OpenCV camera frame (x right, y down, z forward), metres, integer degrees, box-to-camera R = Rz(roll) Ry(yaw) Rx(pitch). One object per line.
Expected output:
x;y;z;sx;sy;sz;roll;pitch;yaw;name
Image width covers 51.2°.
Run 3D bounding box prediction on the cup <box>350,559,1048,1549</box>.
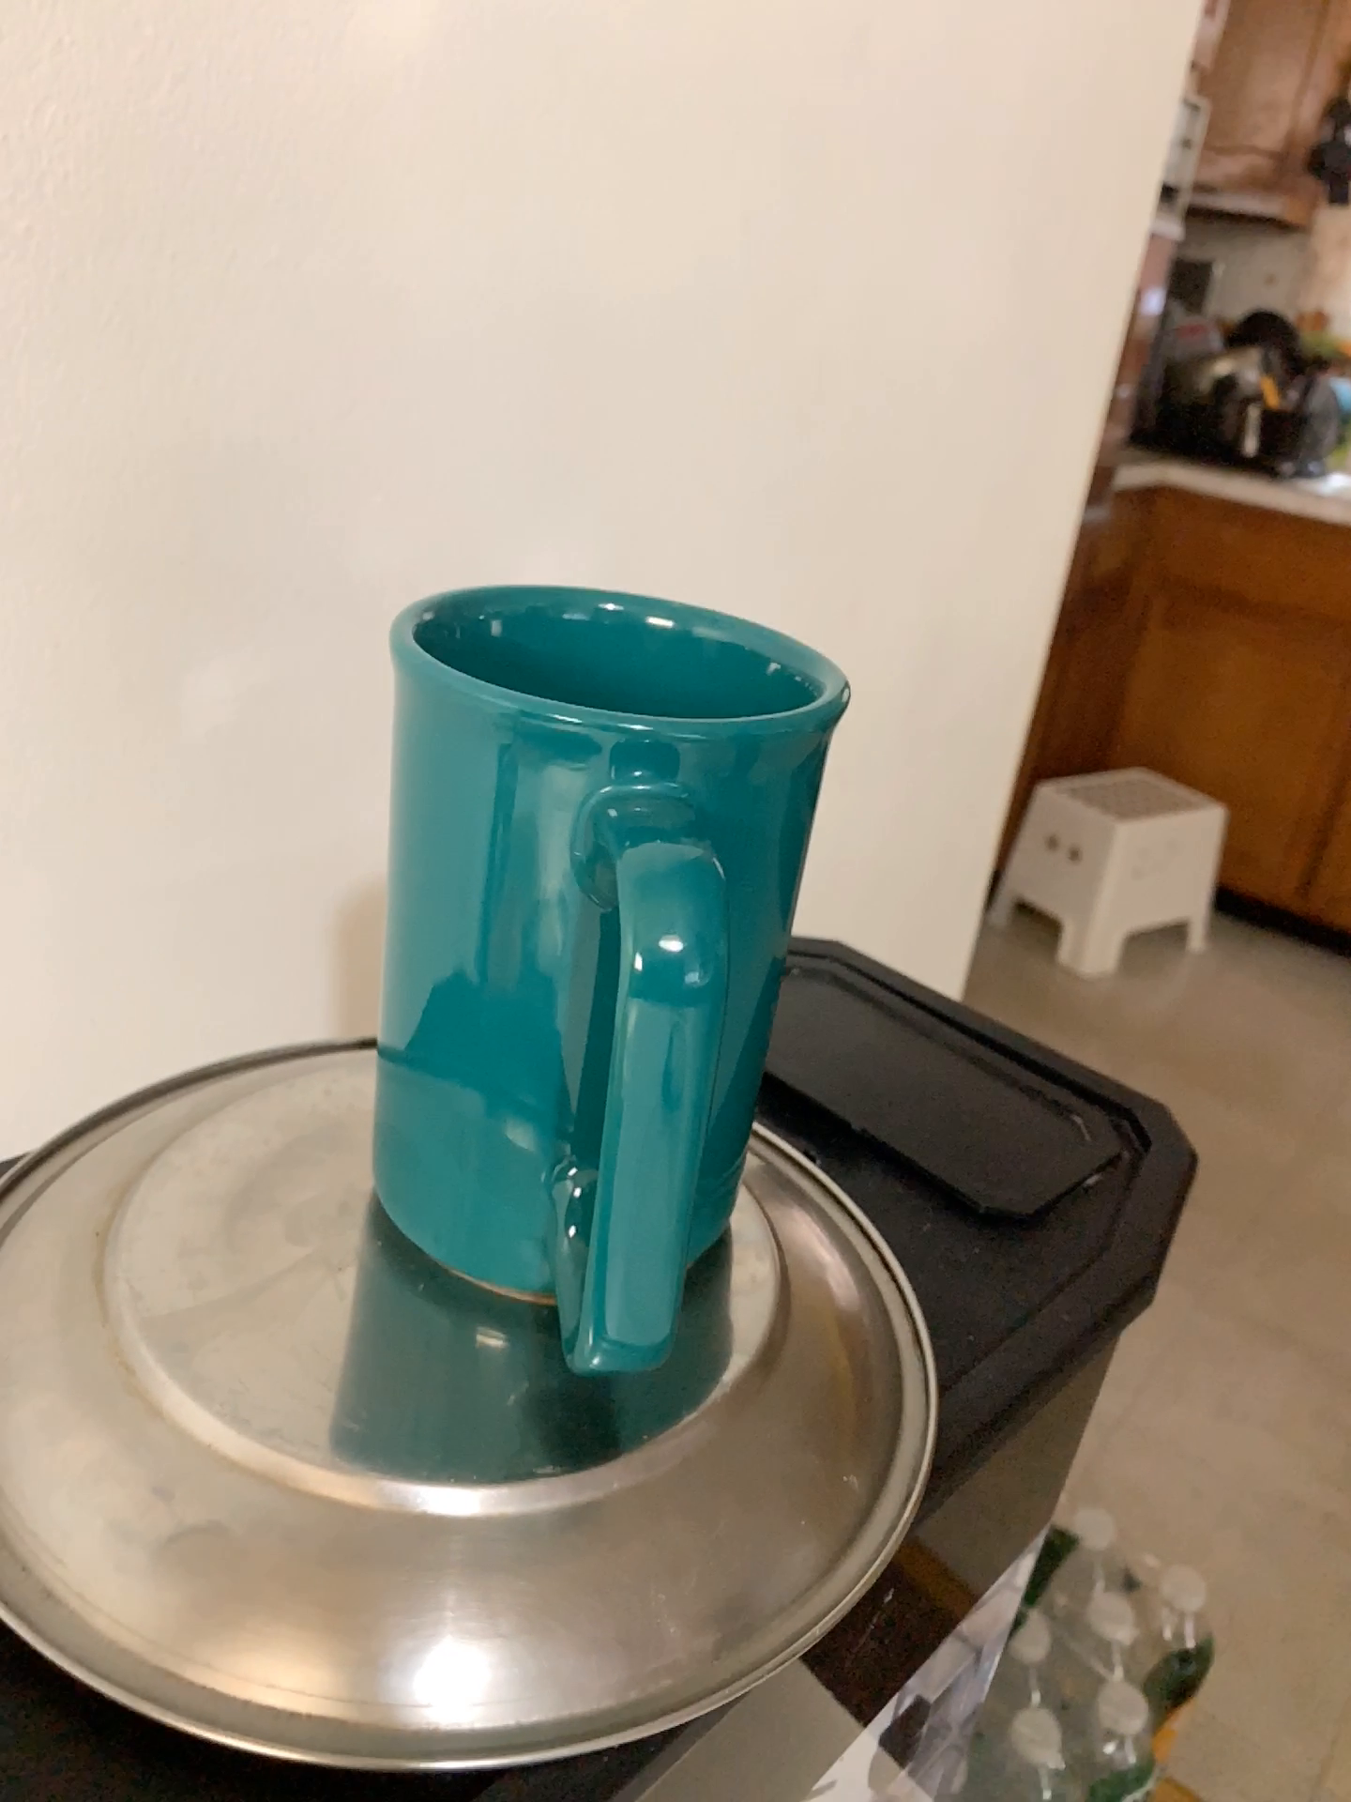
-0.012;0.016;0.248;0.080;0.119;0.121;2;25;-15;cup
